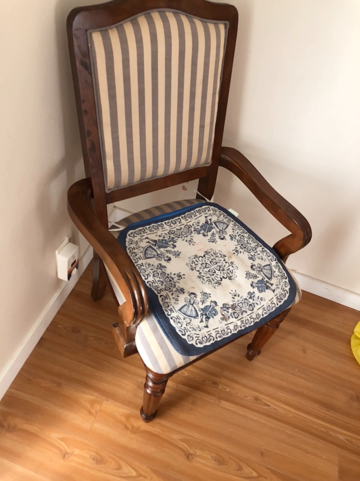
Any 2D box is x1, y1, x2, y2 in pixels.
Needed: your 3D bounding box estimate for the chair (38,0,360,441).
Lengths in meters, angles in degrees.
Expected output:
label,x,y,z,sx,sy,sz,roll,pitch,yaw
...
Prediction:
label,x,y,z,sx,sy,sz,roll,pitch,yaw
chair,0.037,-0.006,1.084,0.531,1.044,0.582,-23,58,-28
